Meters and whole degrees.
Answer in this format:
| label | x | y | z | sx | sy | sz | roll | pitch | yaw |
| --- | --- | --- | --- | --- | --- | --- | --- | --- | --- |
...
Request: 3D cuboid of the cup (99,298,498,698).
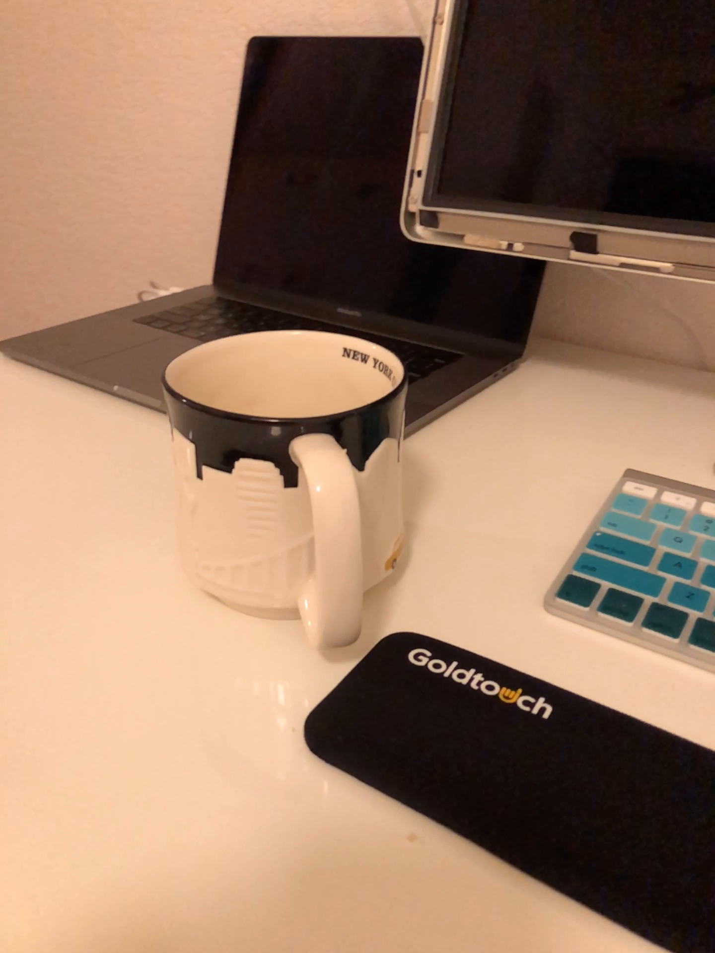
| label | x | y | z | sx | sy | sz | roll | pitch | yaw |
| --- | --- | --- | --- | --- | --- | --- | --- | --- | --- |
| cup | -0.034 | -0.006 | 0.333 | 0.110 | 0.089 | 0.151 | -12 | 31 | -22 |
